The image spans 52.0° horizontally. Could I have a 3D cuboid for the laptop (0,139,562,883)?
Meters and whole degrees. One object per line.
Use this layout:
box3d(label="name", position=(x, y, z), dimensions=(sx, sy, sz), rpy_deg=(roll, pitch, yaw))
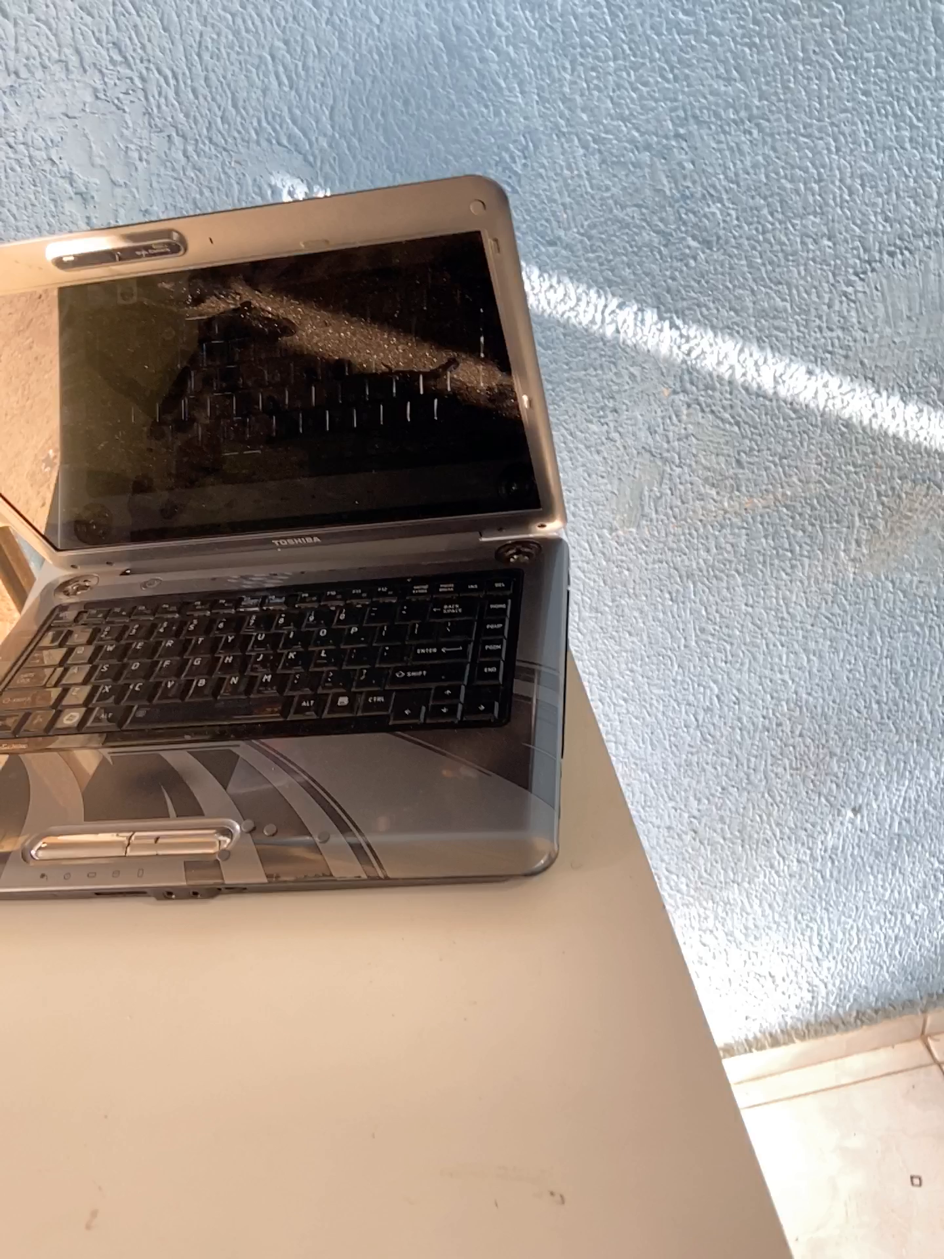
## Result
box3d(label="laptop", position=(-0.149, -0.060, 0.482), dimensions=(0.358, 0.235, 0.260), rpy_deg=(-4, 36, 10))
